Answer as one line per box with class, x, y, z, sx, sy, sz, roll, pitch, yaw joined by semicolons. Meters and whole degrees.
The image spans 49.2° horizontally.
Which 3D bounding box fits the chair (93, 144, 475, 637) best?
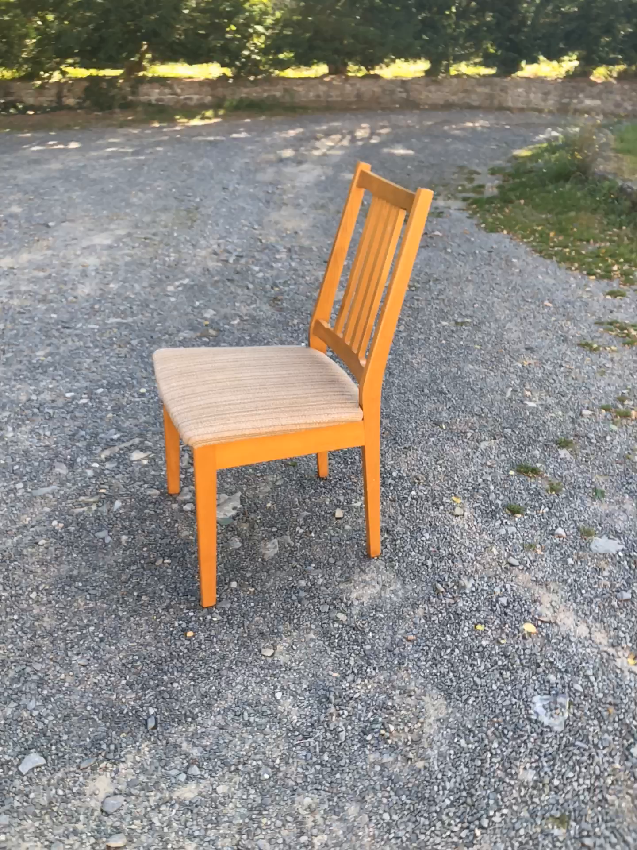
chair;-0.103;-0.117;1.589;0.591;0.845;0.602;-12;33;-17
